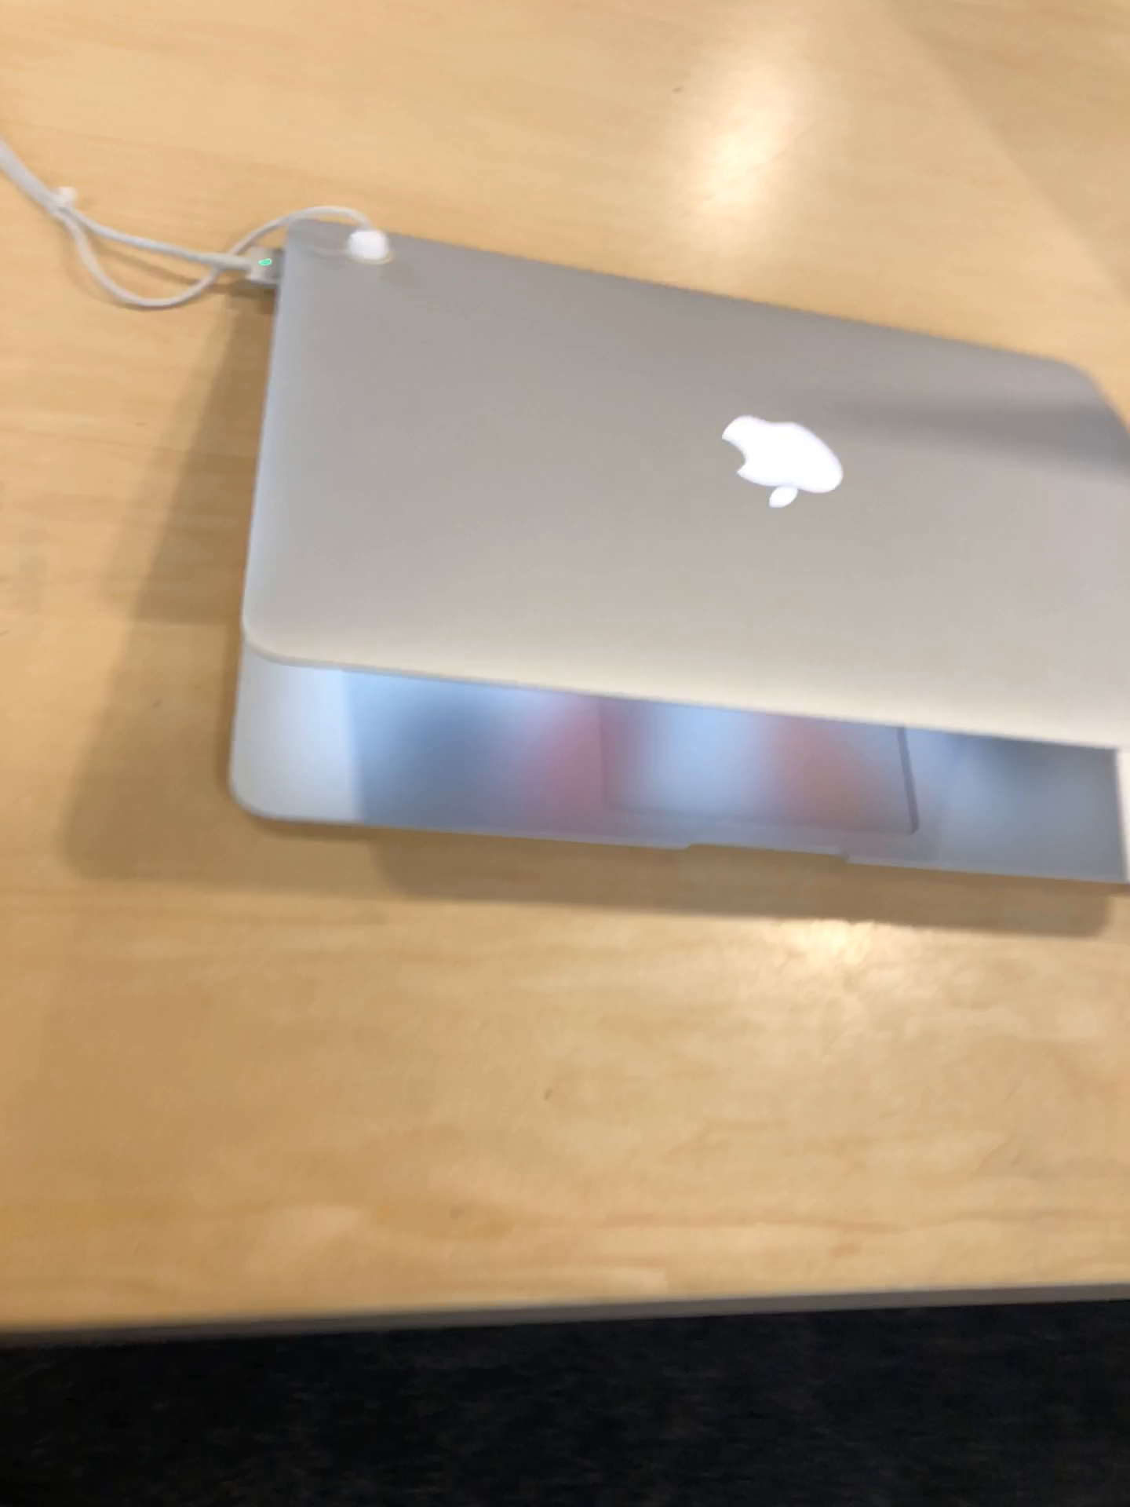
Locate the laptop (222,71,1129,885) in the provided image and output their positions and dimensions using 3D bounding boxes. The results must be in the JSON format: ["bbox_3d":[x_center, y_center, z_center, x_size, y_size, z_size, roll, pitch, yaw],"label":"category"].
[{"bbox_3d":[0.065,-0.082,0.396,0.315,0.067,0.215,5,62,-13],"label":"laptop"}]
